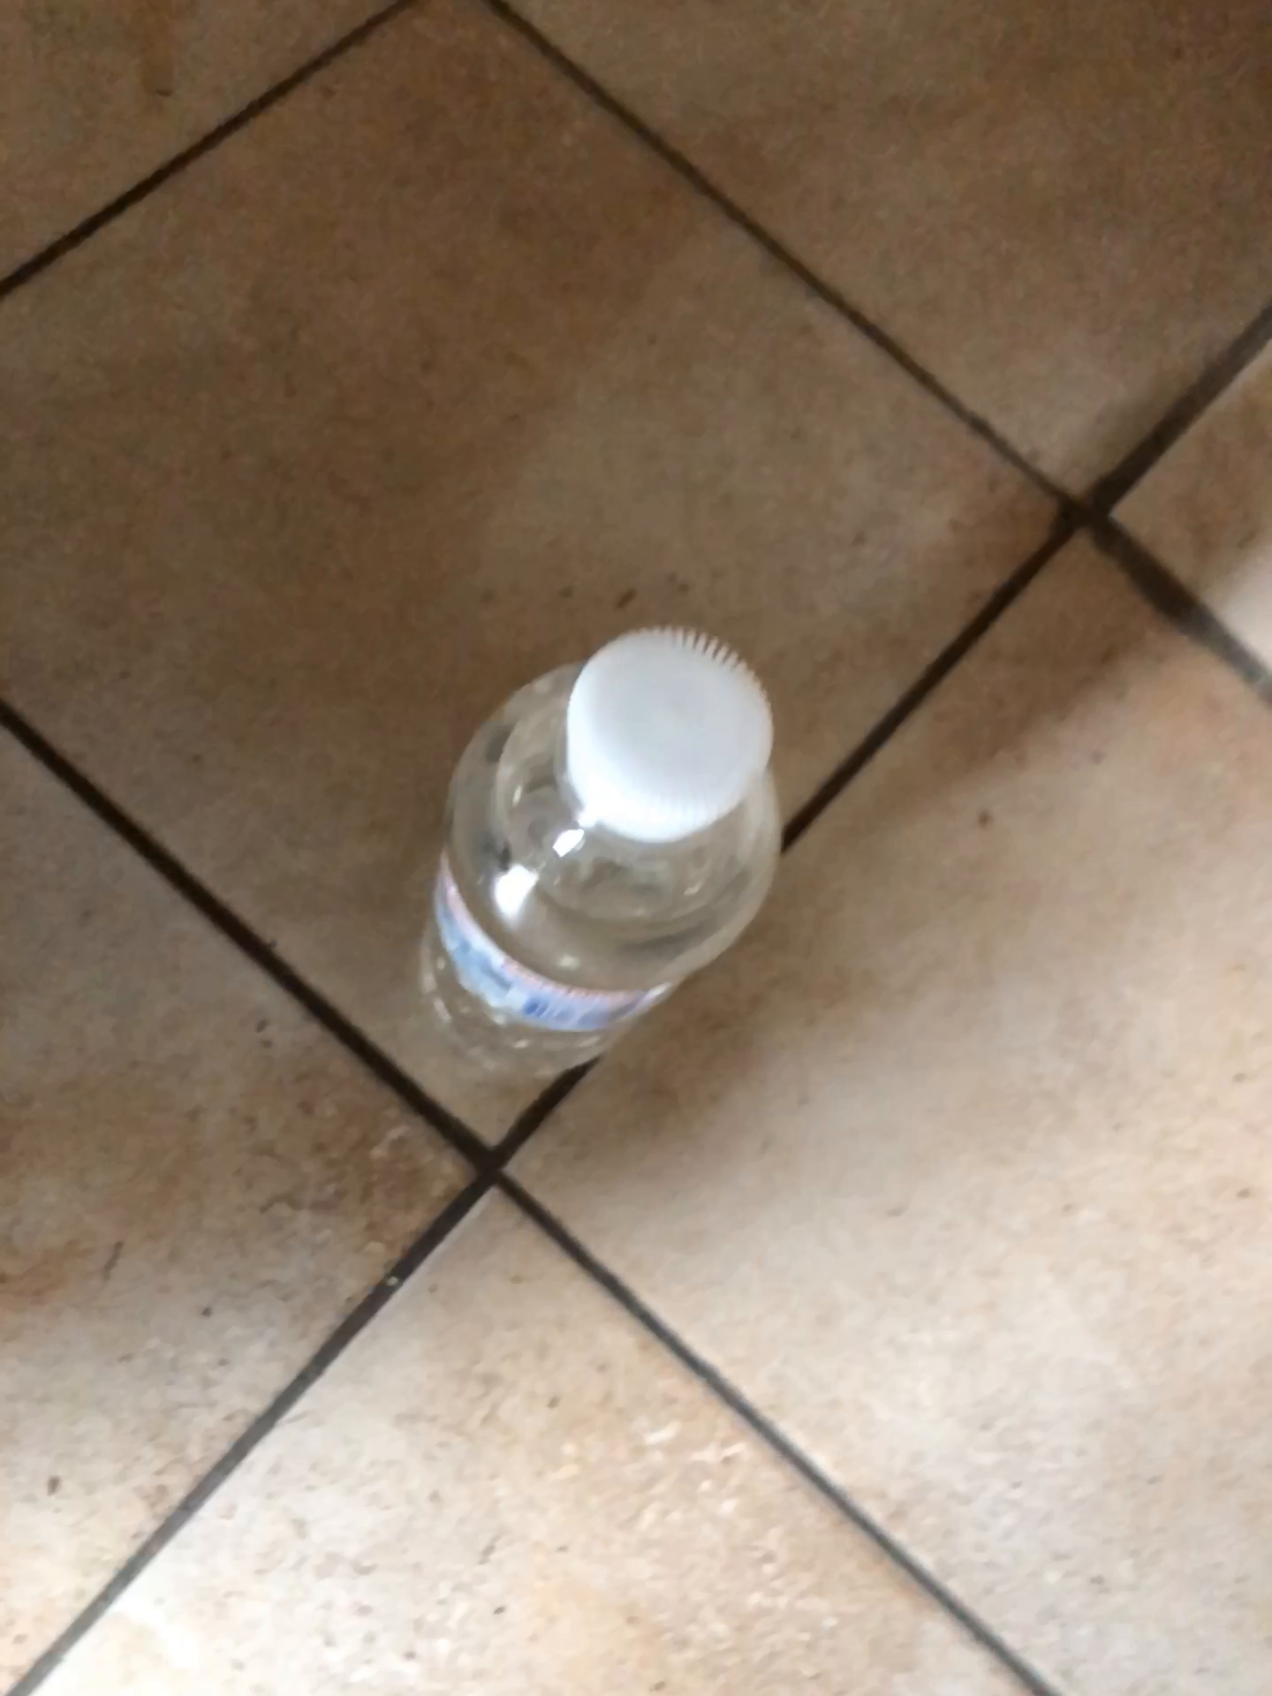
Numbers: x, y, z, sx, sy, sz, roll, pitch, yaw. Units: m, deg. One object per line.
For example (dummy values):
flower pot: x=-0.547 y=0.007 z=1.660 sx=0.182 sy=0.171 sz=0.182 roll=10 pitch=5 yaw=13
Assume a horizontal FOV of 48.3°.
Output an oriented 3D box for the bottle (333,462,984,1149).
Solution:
bottle: x=-0.012 y=0.009 z=0.327 sx=0.080 sy=0.199 sz=0.080 roll=2 pitch=75 yaw=-9
